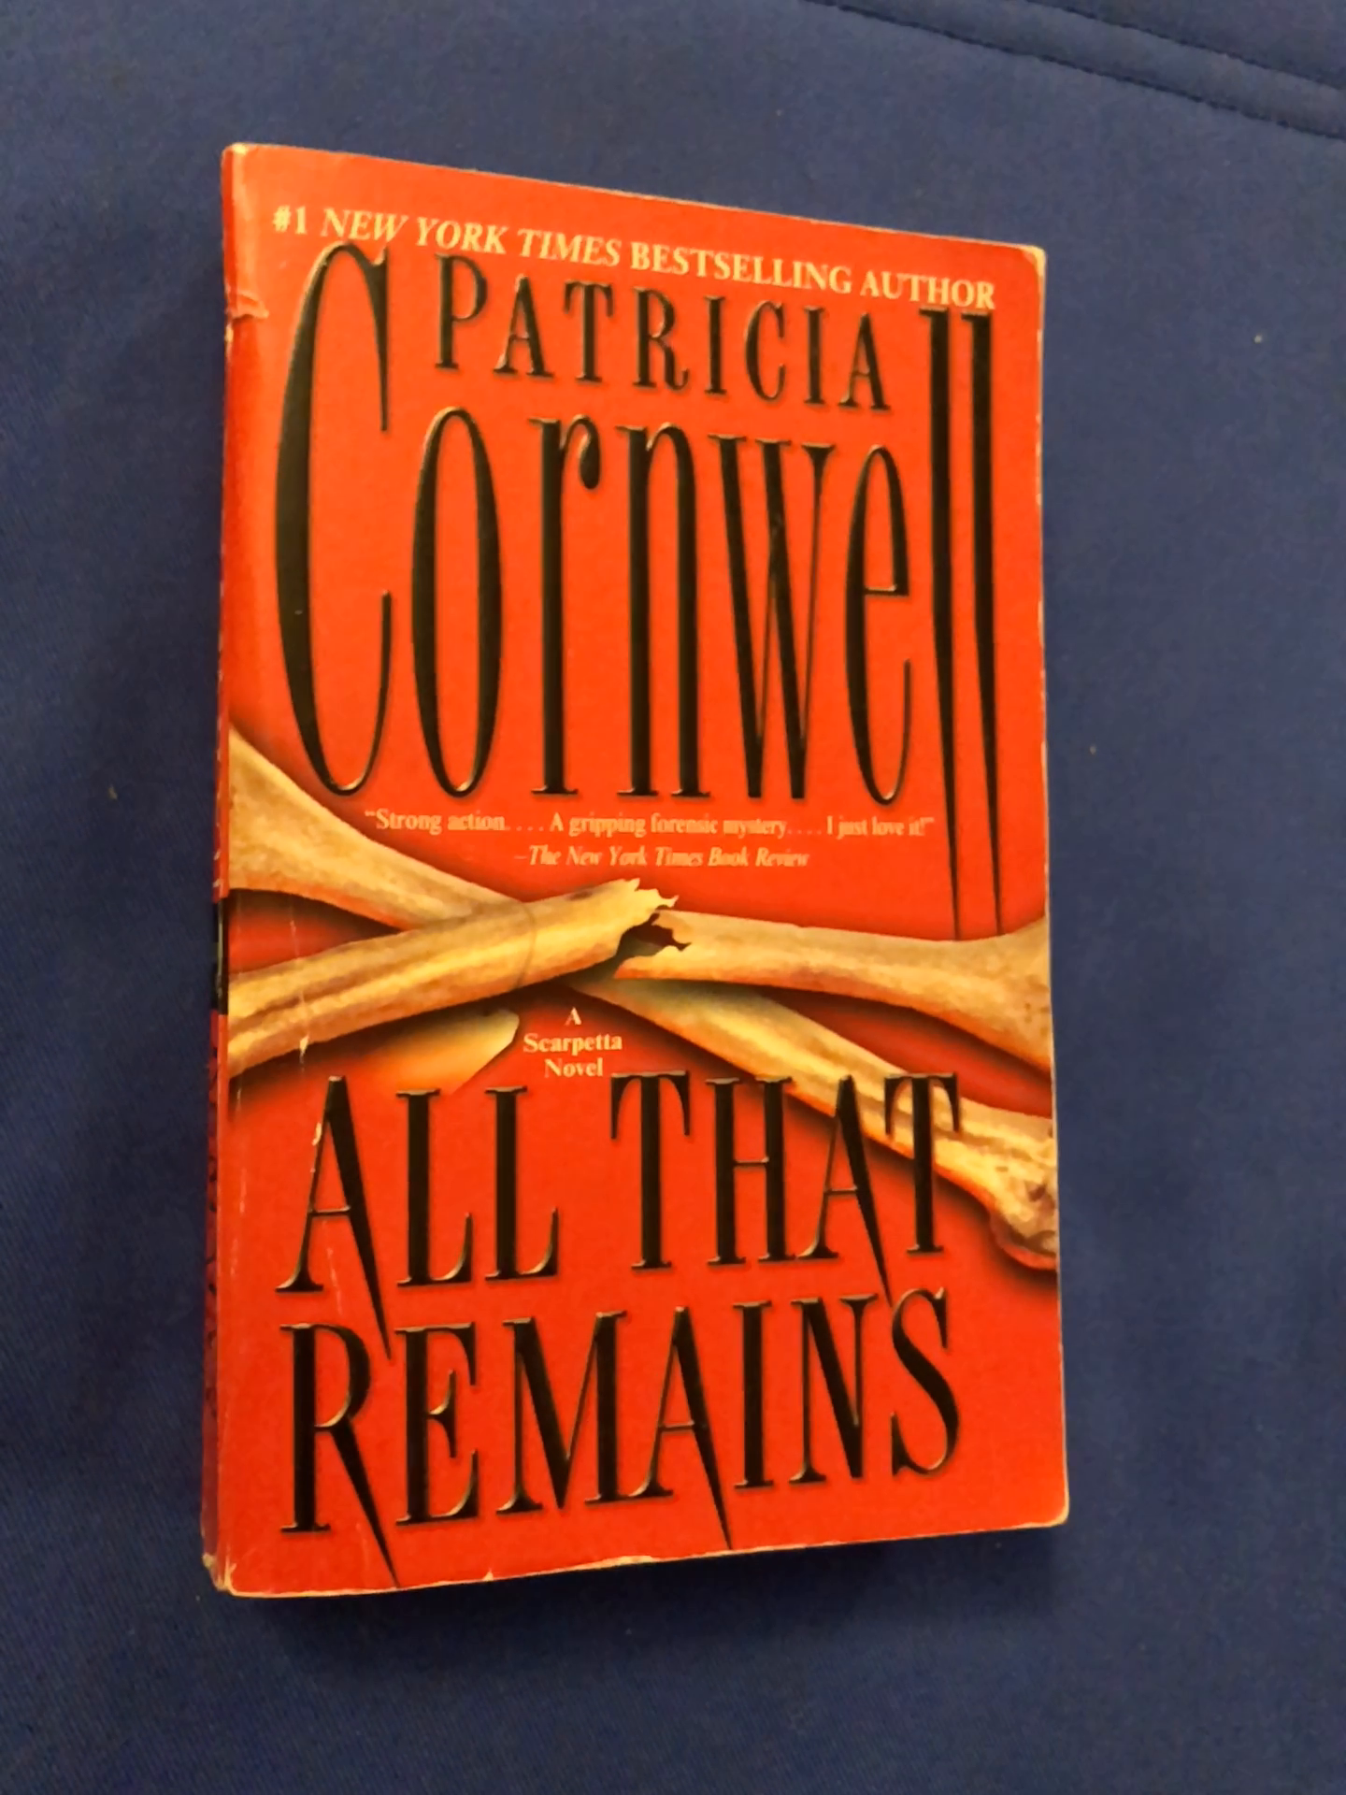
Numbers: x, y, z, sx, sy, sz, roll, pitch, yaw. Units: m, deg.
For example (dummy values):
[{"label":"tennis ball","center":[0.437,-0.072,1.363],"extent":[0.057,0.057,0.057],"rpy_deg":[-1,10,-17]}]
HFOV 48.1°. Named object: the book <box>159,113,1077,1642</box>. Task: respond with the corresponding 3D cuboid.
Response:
[{"label":"book","center":[-0.006,-0.003,0.193],"extent":[0.110,0.030,0.166],"rpy_deg":[1,88,-16]}]
